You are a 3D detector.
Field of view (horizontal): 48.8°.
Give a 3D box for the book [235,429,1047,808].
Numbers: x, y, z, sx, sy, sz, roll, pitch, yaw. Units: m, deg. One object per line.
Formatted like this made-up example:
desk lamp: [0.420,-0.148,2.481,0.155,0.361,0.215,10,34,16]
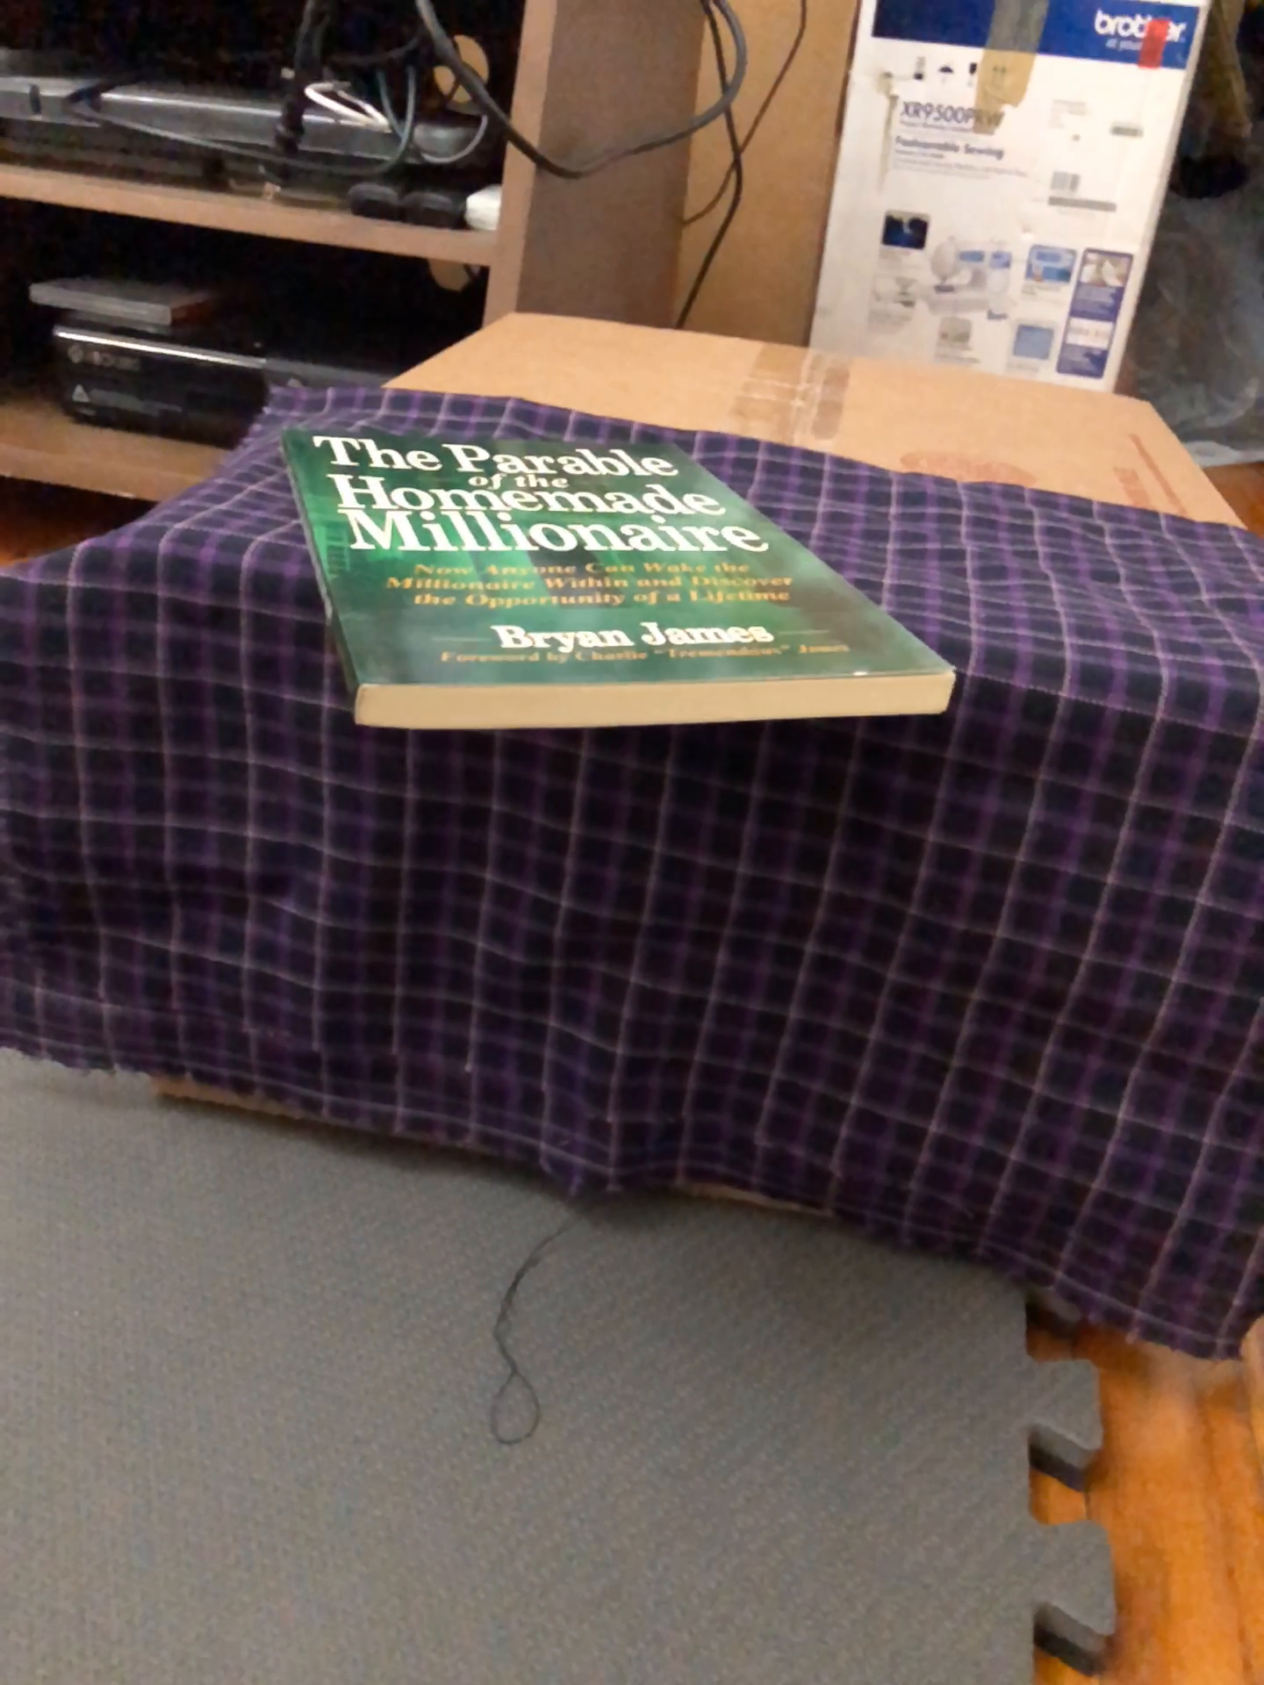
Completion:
book: [-0.017,-0.072,0.371,0.160,0.020,0.211,-4,31,-17]
